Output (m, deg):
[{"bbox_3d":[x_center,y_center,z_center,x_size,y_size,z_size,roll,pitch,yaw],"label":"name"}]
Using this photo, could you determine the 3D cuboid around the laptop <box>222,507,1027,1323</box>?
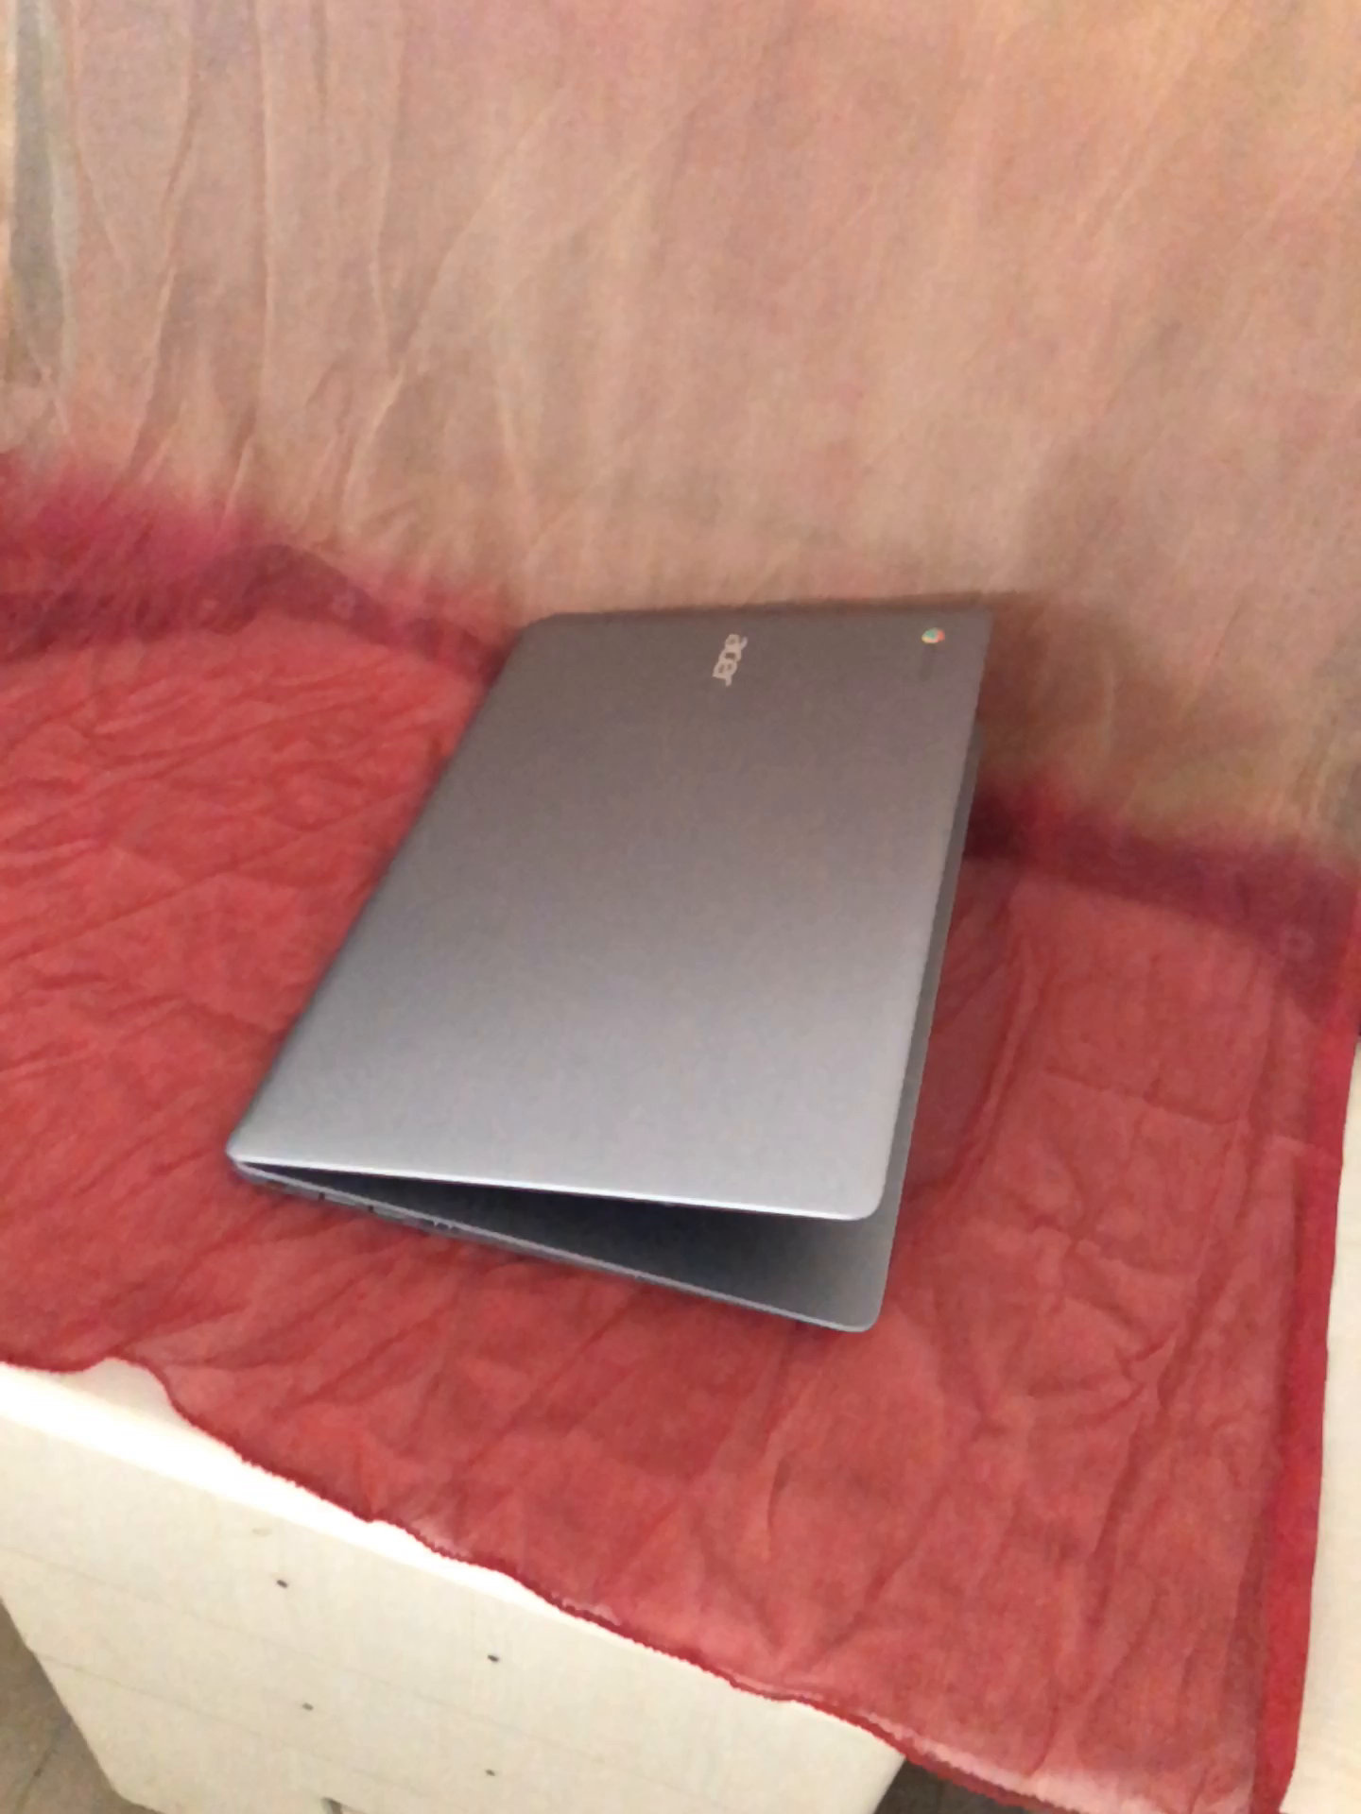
[{"bbox_3d":[0.001,-0.025,0.582,0.219,0.065,0.324,12,46,8],"label":"laptop"}]
